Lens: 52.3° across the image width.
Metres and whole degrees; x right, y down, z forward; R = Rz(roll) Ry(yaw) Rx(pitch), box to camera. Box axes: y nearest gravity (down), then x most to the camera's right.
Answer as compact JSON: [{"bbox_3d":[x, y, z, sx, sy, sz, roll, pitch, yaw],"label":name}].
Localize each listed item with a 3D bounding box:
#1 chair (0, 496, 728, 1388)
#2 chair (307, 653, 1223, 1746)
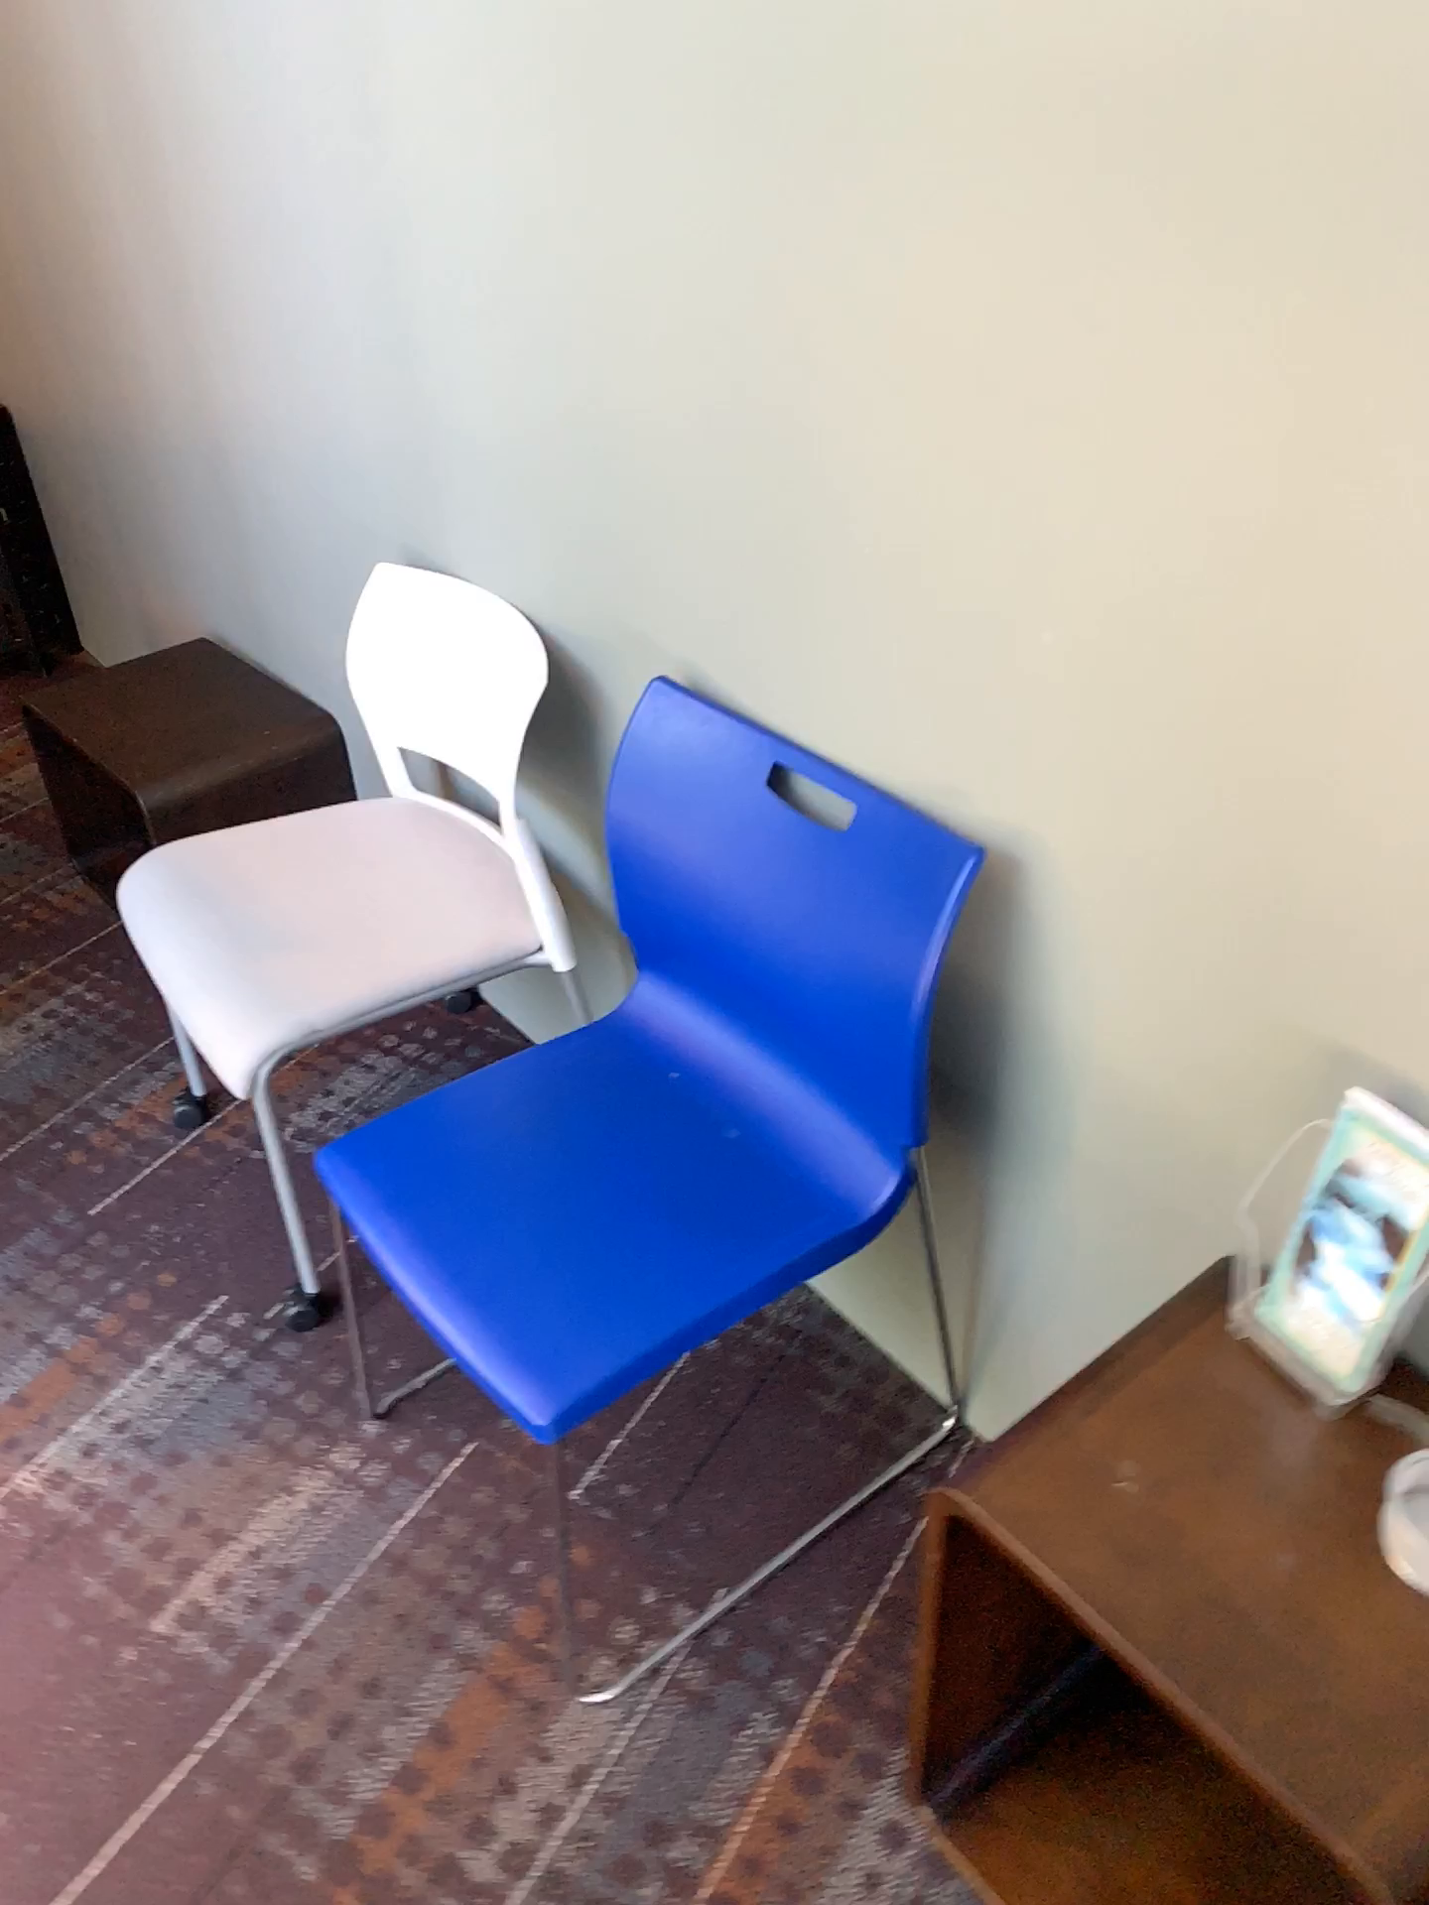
[{"bbox_3d":[-0.409,-0.035,1.849,0.593,0.795,0.561,32,47,31],"label":"chair"},{"bbox_3d":[0.021,0.209,1.564,0.620,0.796,0.593,-21,39,-32],"label":"chair"}]
